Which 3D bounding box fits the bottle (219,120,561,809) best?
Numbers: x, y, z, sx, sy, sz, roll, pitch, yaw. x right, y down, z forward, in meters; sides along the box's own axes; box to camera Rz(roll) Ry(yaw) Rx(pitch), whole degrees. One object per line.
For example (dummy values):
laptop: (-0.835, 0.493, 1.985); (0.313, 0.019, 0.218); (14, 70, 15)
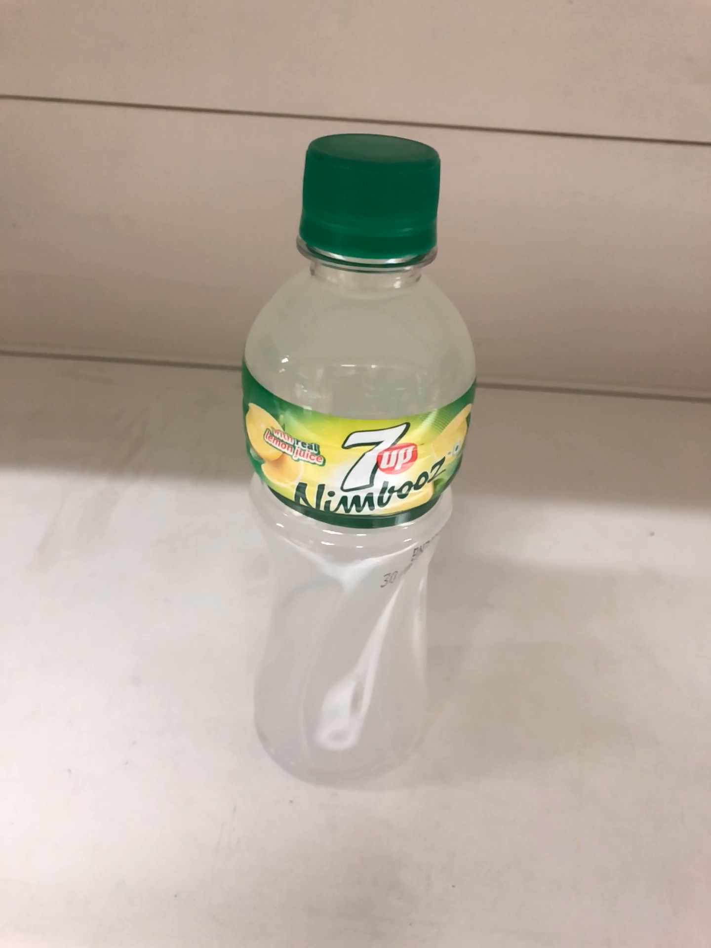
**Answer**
bottle: (-0.002, 0.008, 0.239); (0.070, 0.199, 0.060); (-2, 32, -10)
